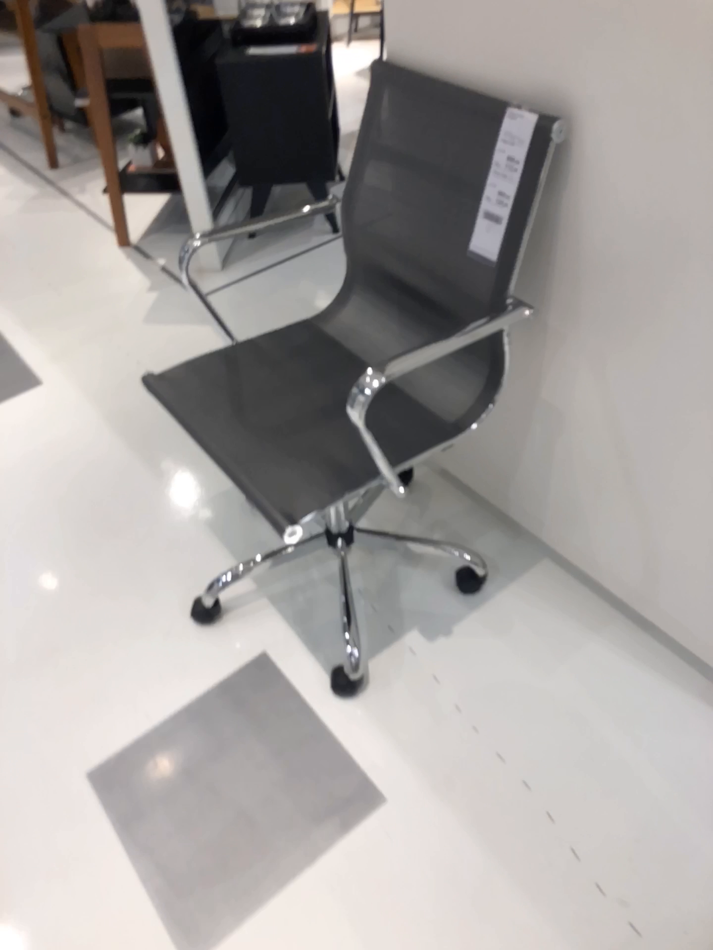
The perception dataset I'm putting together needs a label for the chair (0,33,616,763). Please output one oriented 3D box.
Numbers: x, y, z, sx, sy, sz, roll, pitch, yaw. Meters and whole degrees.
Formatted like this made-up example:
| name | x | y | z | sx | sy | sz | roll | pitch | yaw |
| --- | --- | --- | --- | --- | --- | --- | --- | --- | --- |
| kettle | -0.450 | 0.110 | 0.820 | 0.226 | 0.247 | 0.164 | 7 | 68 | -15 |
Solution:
| name | x | y | z | sx | sy | sz | roll | pitch | yaw |
| --- | --- | --- | --- | --- | --- | --- | --- | --- | --- |
| chair | -0.081 | -0.138 | 1.347 | 0.651 | 0.904 | 0.623 | -29 | 48 | -22 |
